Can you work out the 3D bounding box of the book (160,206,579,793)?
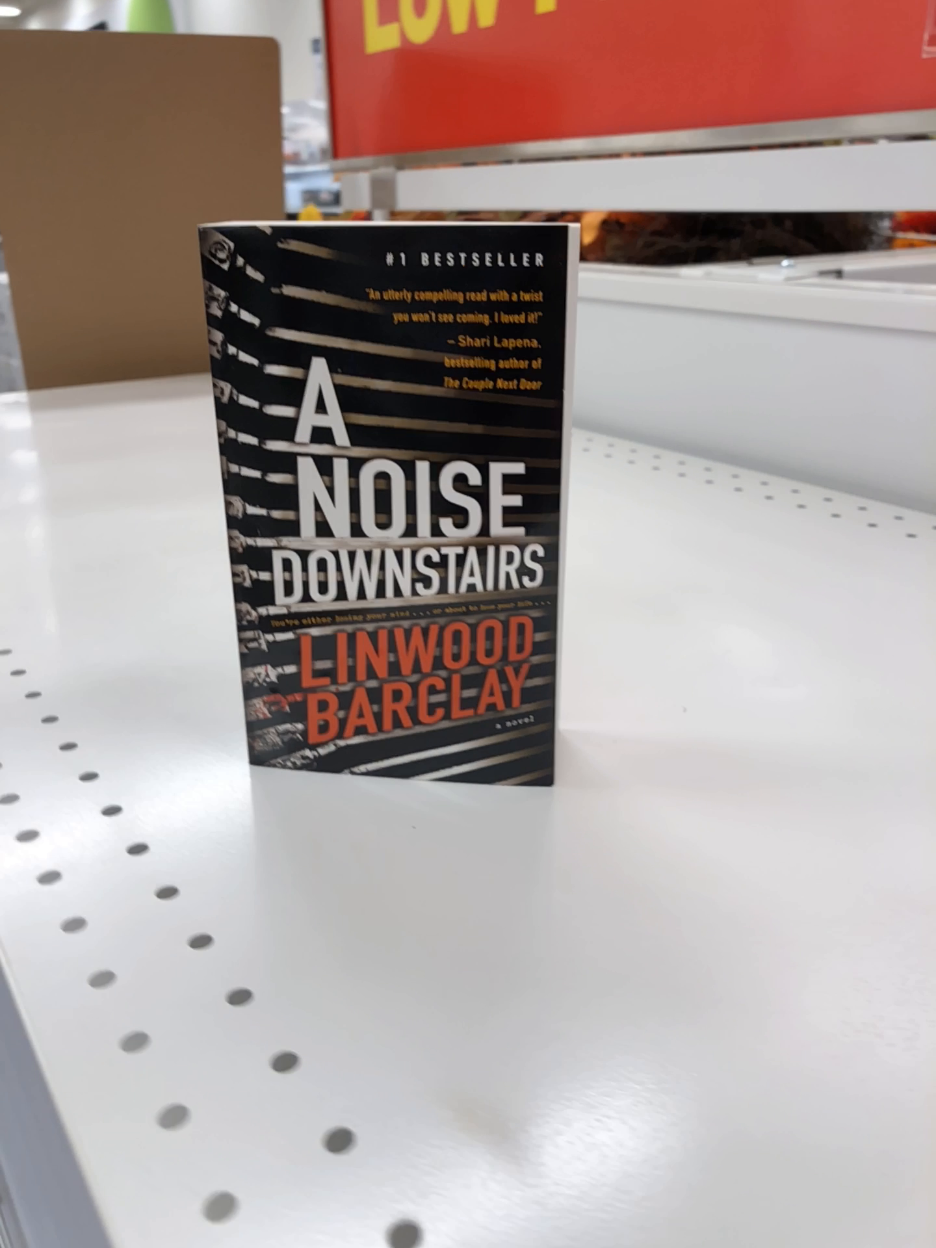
[{"bbox_3d":[-0.024,-0.036,0.324,0.110,0.170,0.041,3,23,11],"label":"book"}]
